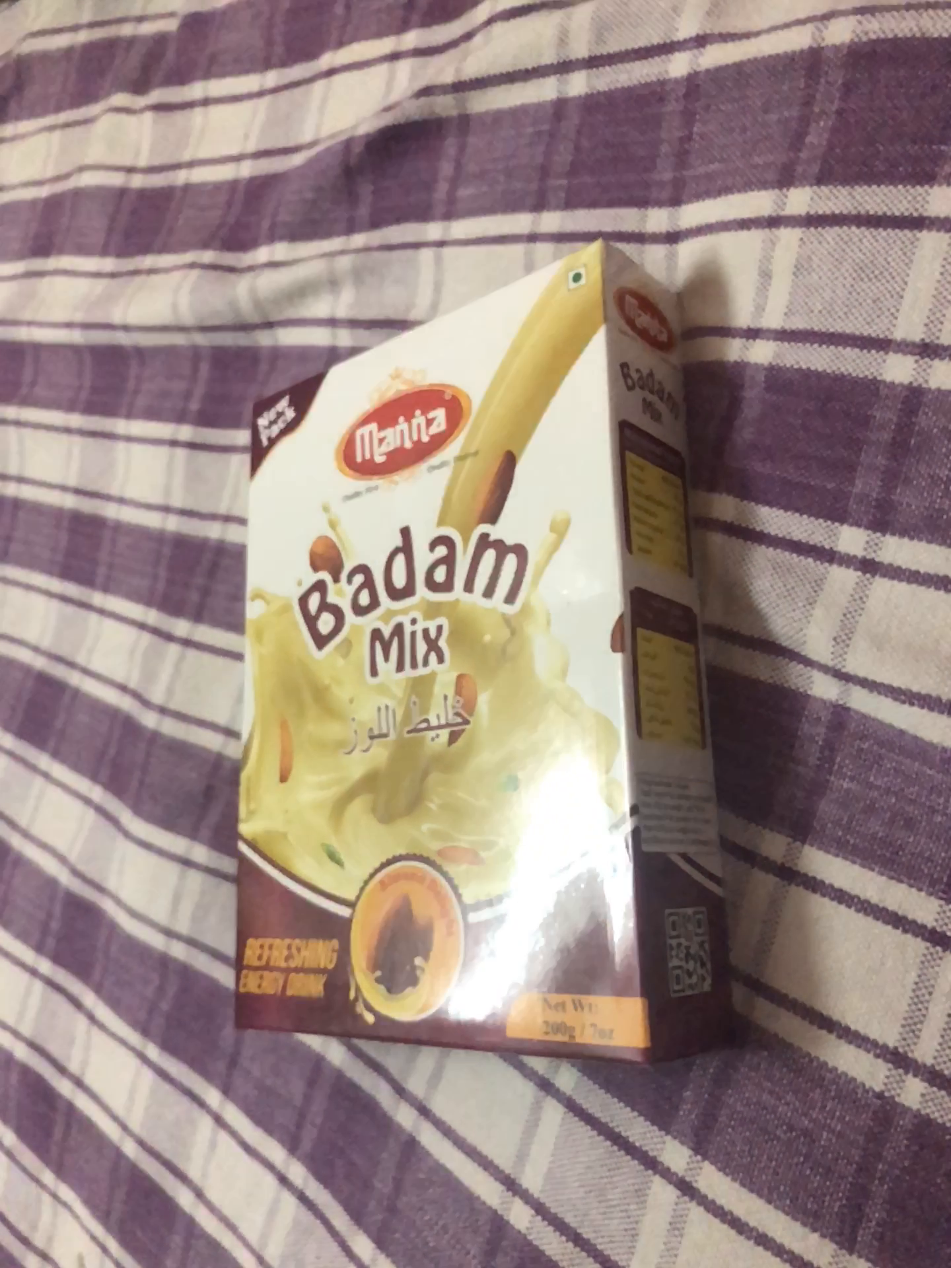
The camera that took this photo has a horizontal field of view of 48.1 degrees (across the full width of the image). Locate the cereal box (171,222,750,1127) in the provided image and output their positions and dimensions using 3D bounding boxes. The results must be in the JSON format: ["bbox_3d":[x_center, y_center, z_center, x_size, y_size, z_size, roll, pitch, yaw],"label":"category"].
[{"bbox_3d":[-0.009,0.013,0.266,0.131,0.050,0.180,-11,73,37],"label":"cereal box"}]
